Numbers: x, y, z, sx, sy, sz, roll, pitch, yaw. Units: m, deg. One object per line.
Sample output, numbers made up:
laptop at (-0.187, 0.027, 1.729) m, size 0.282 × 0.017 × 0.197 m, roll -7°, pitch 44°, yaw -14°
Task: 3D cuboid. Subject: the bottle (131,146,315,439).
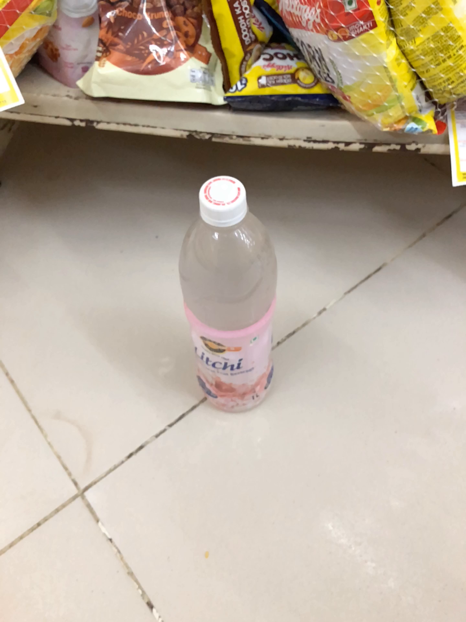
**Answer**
bottle at (0.000, 0.006, 0.397) m, size 0.080 × 0.239 × 0.080 m, roll -1°, pitch 57°, yaw 1°
